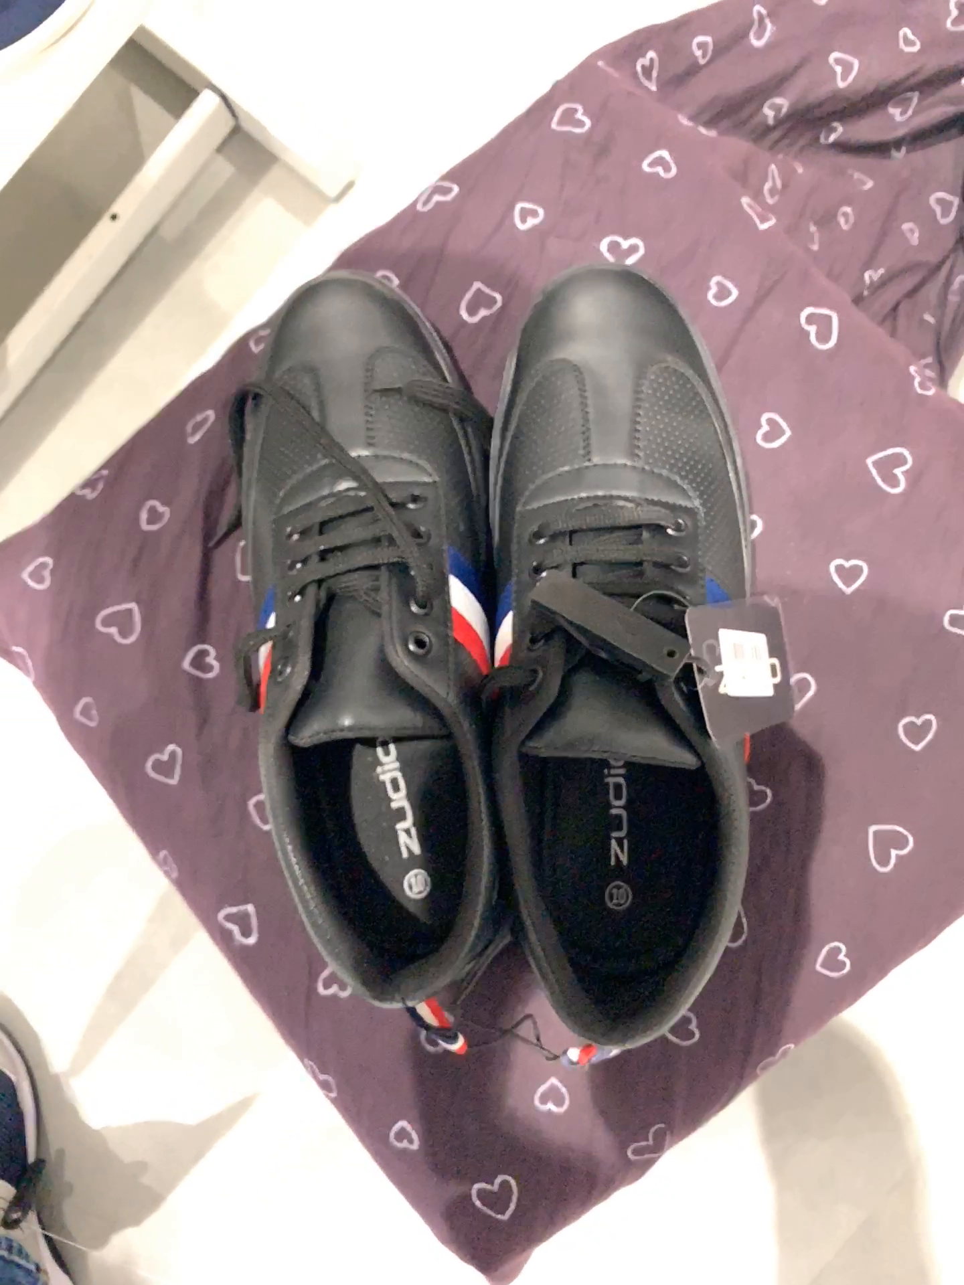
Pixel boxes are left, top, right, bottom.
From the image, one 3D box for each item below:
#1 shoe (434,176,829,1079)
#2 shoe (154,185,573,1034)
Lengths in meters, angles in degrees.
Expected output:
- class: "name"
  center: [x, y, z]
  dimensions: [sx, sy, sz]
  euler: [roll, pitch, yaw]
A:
- class: "shoe"
  center: [0.050, -0.006, 0.375]
  dimensions: [0.110, 0.080, 0.300]
  euler: [-4, 82, 7]
- class: "shoe"
  center: [-0.047, -0.013, 0.422]
  dimensions: [0.120, 0.090, 0.310]
  euler: [-9, 82, 6]
